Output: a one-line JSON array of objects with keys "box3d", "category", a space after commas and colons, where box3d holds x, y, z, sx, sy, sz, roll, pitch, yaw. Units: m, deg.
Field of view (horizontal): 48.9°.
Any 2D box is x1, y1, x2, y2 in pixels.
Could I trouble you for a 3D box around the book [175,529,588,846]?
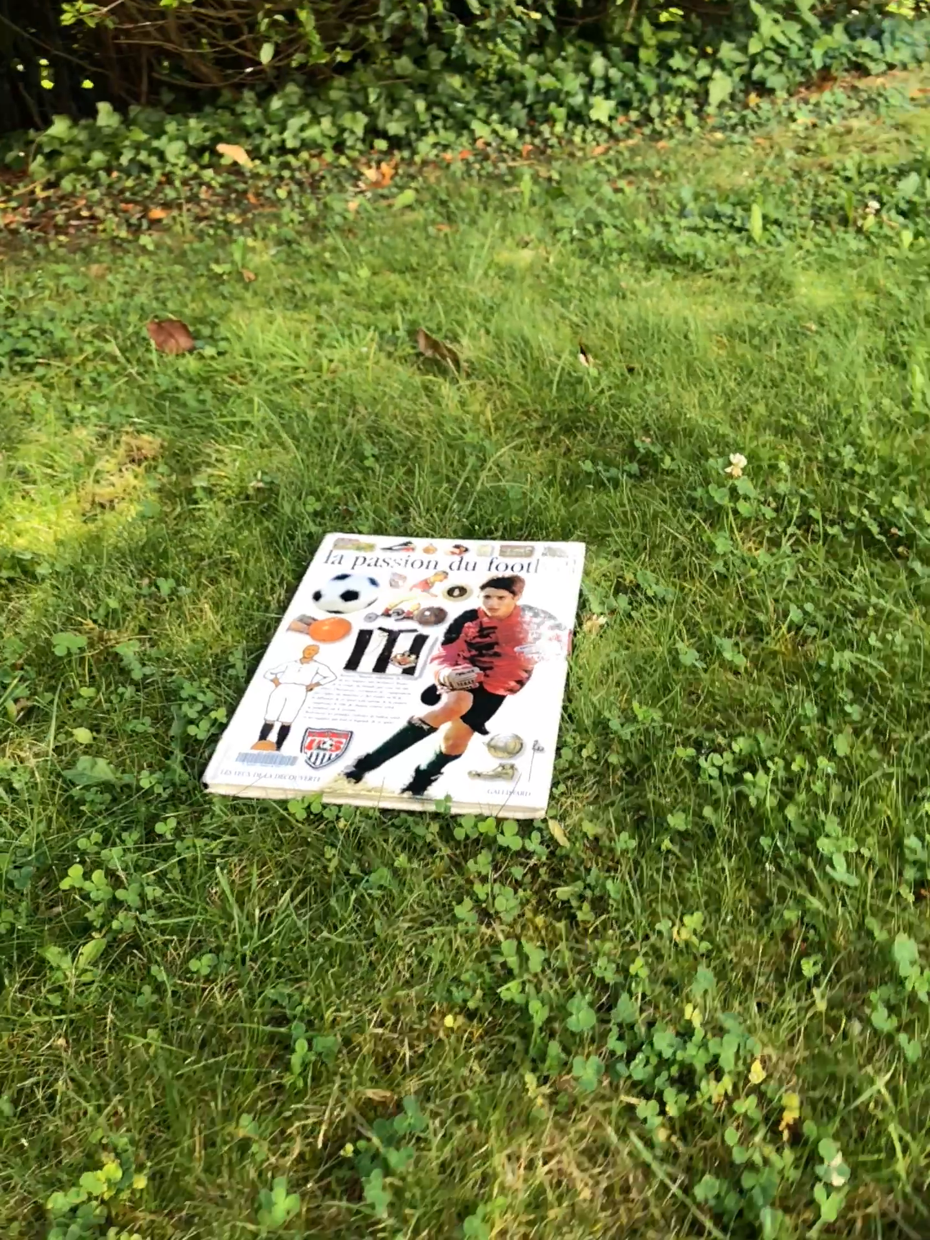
[{"box3d": [-0.040, 0.028, 0.735, 0.230, 0.020, 0.302, 3, 38, 11], "category": "book"}]
